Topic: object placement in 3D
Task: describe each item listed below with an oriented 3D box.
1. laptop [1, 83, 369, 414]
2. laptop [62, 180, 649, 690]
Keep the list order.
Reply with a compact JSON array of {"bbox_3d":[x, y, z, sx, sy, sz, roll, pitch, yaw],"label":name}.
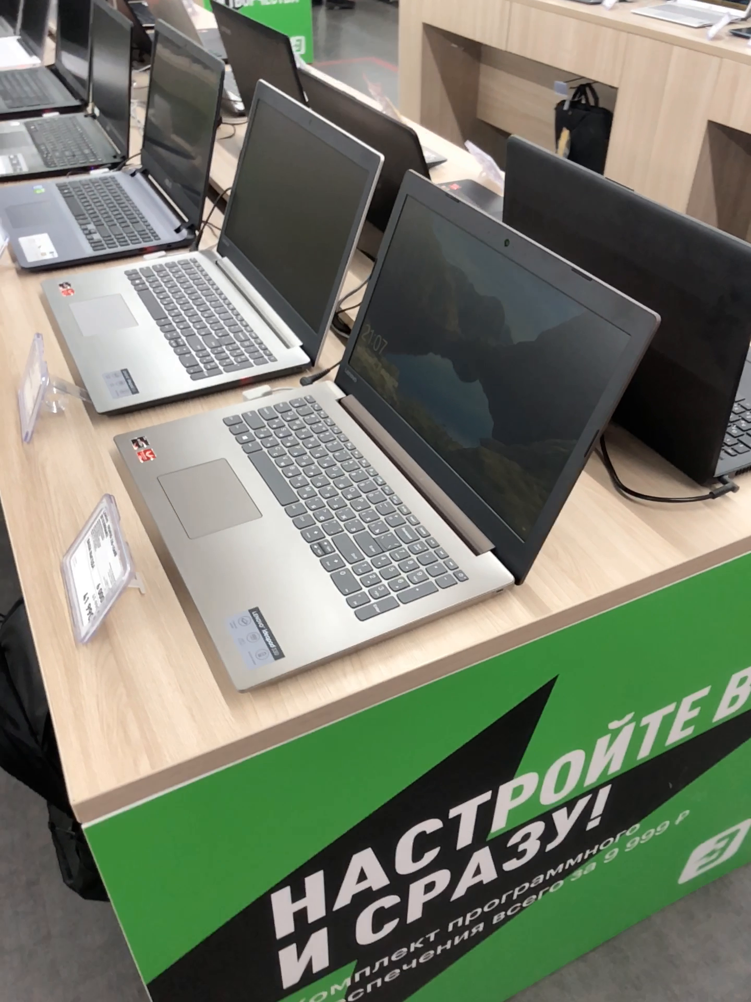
[{"bbox_3d":[-0.224,-0.323,0.980,0.323,0.207,0.344,-18,43,-21],"label":"laptop"},{"bbox_3d":[-0.040,-0.091,0.698,0.328,0.209,0.352,-18,41,-20],"label":"laptop"}]
